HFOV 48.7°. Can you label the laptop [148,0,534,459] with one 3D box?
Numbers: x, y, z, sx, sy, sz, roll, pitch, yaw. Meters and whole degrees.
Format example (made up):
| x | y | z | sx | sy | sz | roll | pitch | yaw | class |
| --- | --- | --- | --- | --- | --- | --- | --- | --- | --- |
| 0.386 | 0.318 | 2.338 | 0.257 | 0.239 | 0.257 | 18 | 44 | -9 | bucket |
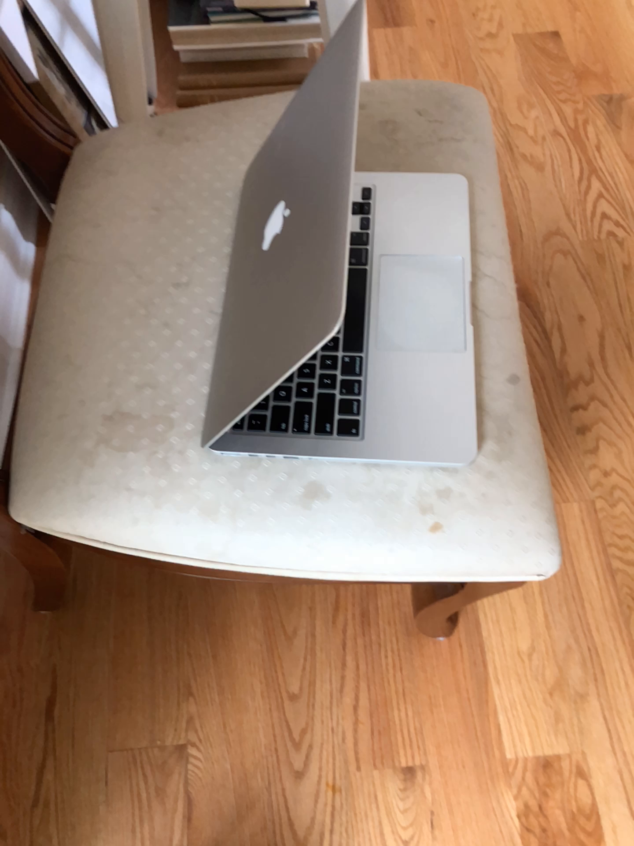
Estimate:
| x | y | z | sx | sy | sz | roll | pitch | yaw | class |
| --- | --- | --- | --- | --- | --- | --- | --- | --- | --- |
| 0.024 | -0.153 | 0.547 | 0.218 | 0.183 | 0.310 | 2 | 63 | 4 | laptop |
